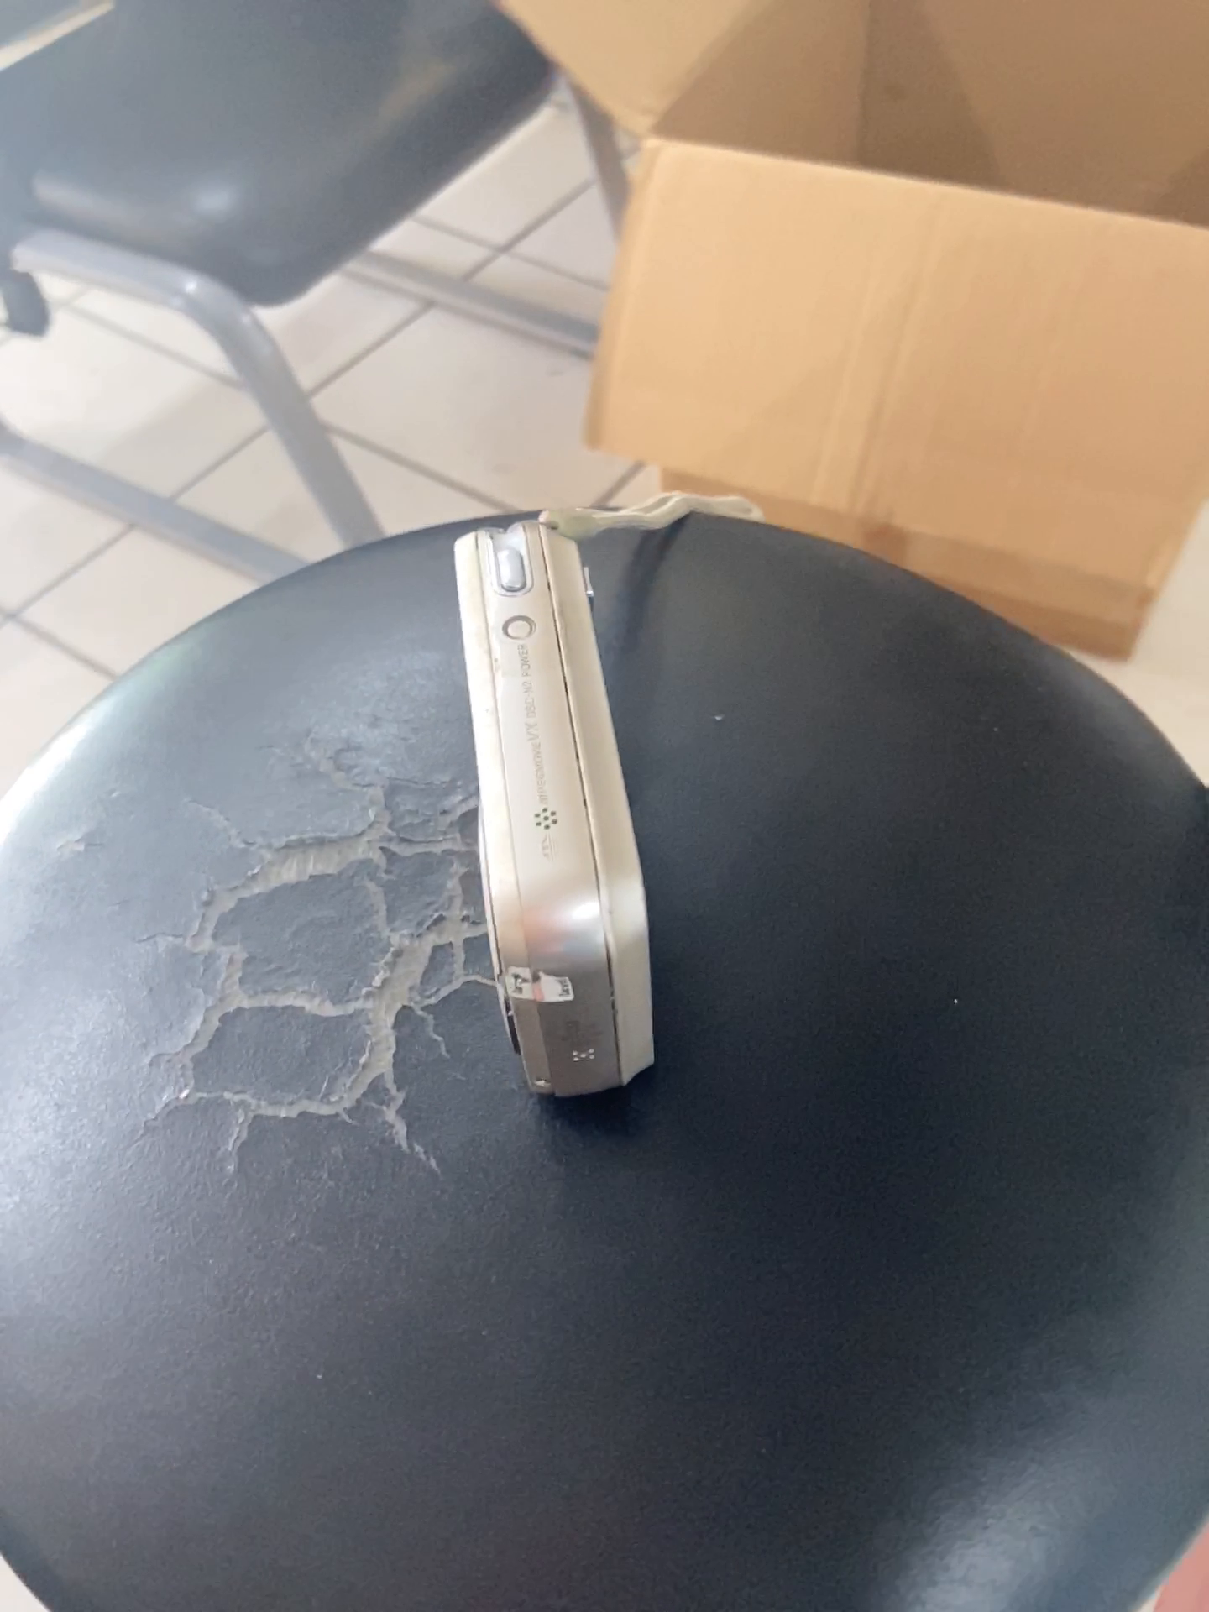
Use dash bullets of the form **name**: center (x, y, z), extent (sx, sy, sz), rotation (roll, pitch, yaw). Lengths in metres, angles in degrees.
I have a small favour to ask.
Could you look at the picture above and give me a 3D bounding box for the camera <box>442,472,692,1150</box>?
- **camera**: center (-0.008, -0.002, 0.236), extent (0.030, 0.060, 0.110), rotation (-7, 53, -3)
